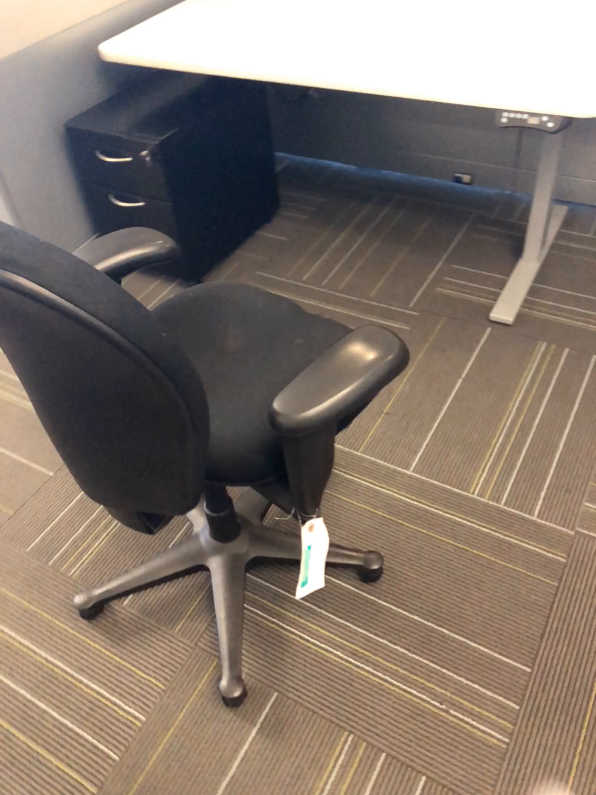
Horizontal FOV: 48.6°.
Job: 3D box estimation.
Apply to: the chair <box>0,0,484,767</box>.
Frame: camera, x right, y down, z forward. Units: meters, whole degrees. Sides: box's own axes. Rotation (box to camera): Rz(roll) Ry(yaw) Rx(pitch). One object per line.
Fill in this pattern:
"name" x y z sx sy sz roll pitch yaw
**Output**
"chair" -0.232 -0.064 1.137 0.681 0.995 0.702 -35 50 -26
